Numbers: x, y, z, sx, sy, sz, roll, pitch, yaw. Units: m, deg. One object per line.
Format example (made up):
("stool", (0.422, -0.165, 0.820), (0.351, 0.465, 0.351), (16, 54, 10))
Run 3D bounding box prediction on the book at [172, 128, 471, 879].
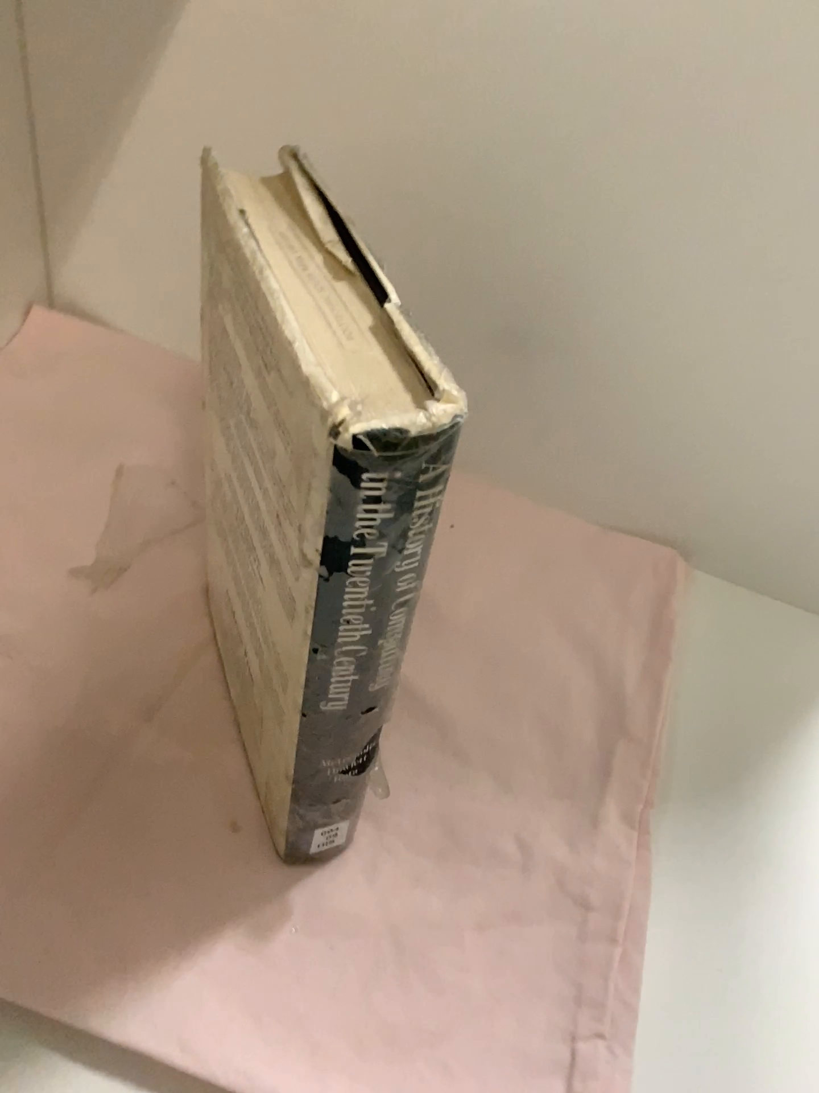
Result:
("book", (-0.052, -0.005, 0.338), (0.042, 0.247, 0.168), (-10, 49, -20))
